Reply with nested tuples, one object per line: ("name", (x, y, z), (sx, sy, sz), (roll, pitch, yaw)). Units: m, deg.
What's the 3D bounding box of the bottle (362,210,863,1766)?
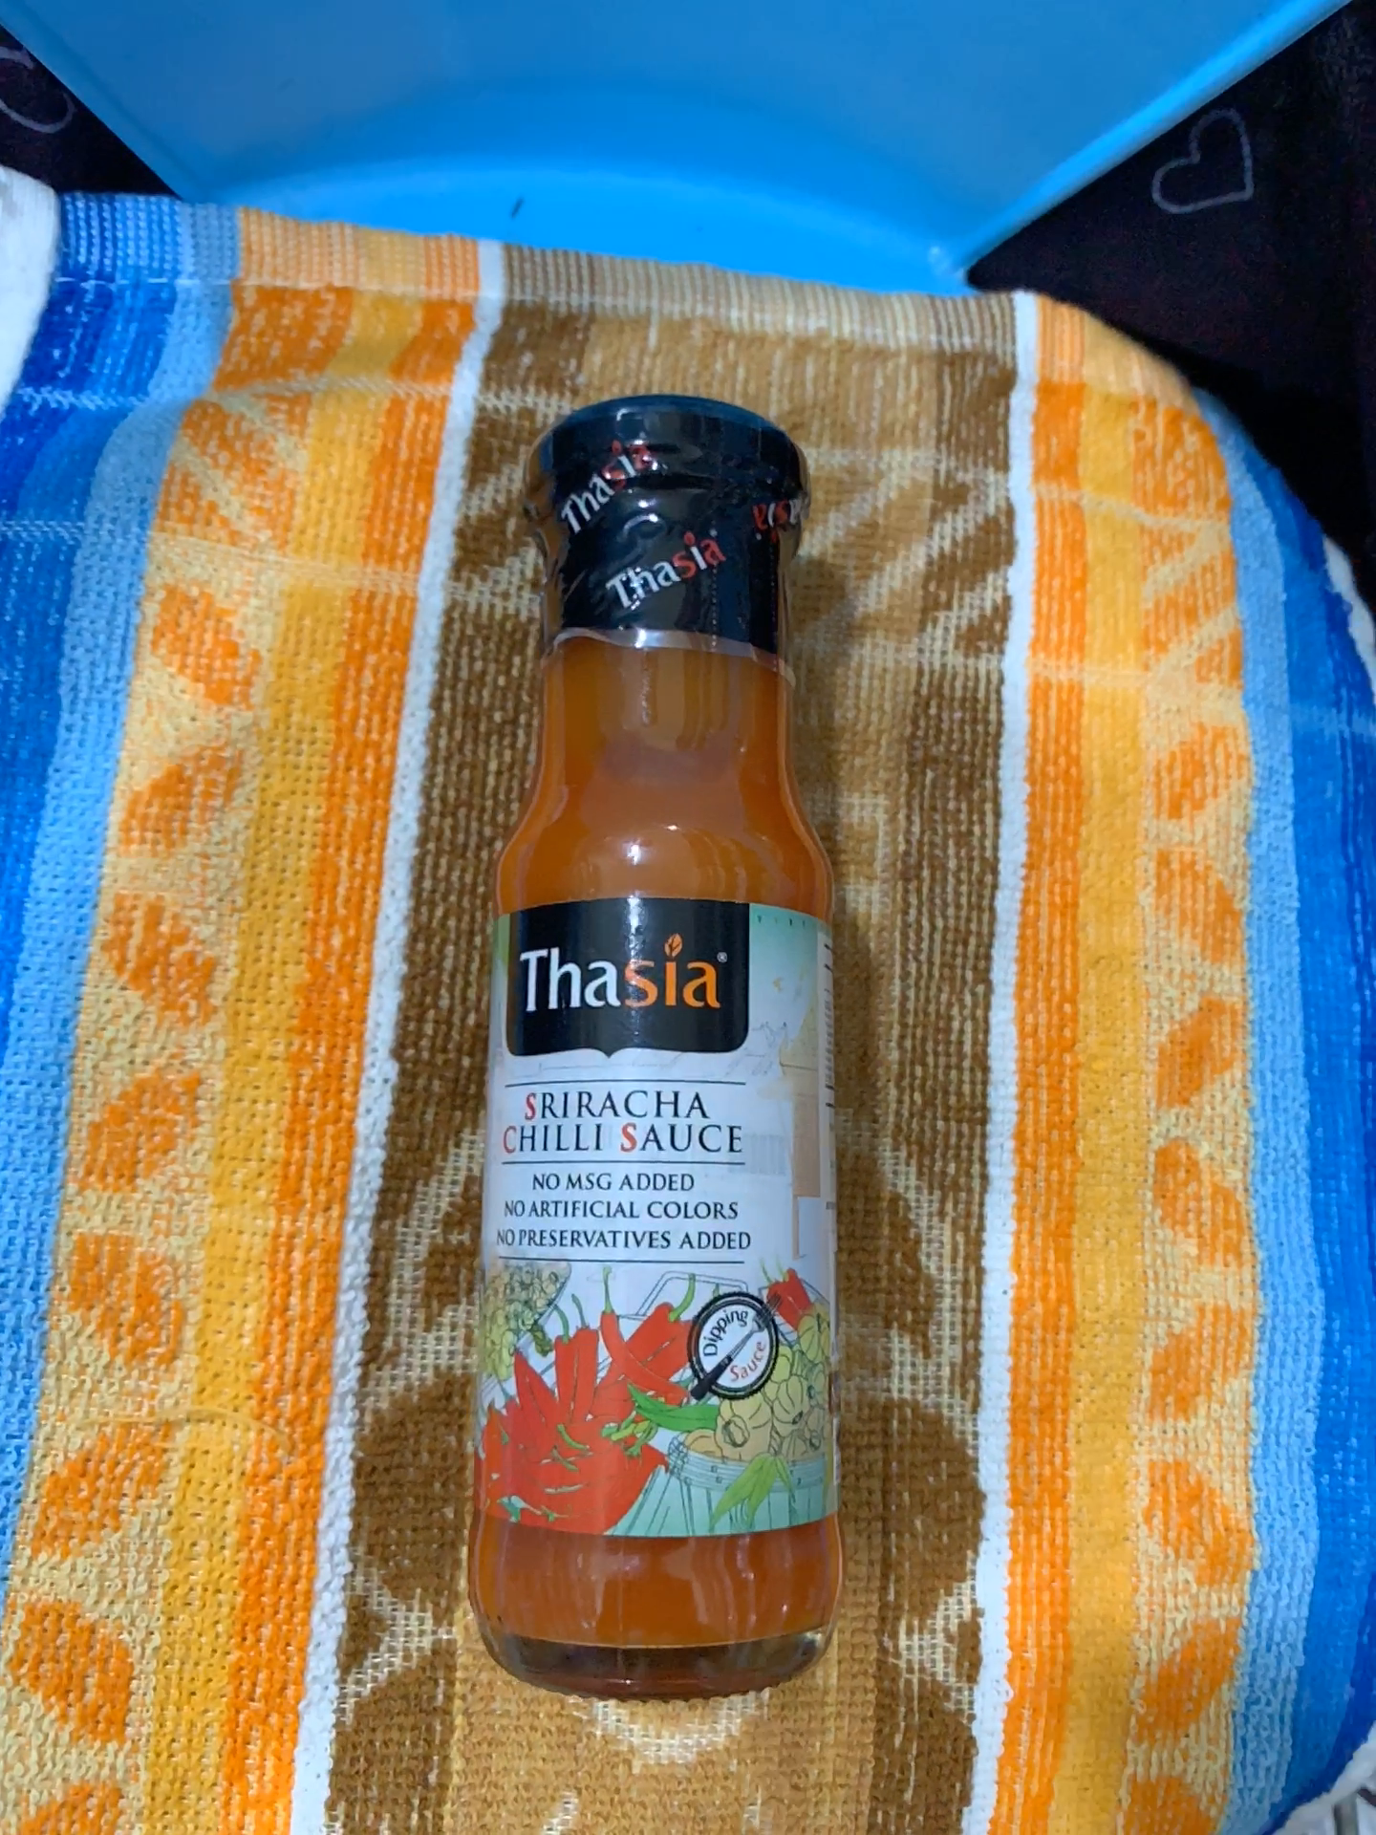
("bottle", (-0.004, 0.002, 0.190), (0.050, 0.050, 0.180), (-1, 75, 8))
